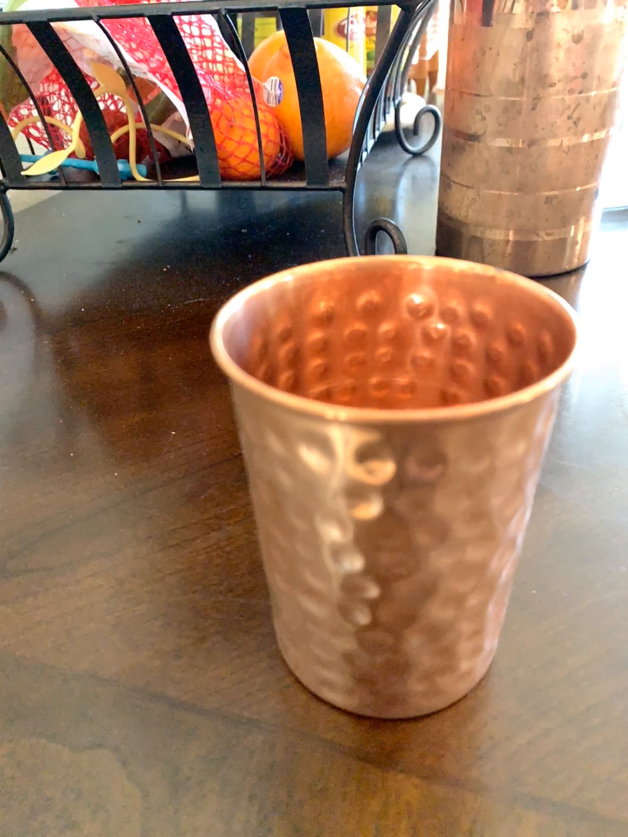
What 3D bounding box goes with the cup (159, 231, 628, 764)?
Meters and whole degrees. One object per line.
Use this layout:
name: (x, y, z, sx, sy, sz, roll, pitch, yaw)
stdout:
cup: (0.017, 0.012, 0.139, 0.066, 0.082, 0.070, -2, 33, 1)
